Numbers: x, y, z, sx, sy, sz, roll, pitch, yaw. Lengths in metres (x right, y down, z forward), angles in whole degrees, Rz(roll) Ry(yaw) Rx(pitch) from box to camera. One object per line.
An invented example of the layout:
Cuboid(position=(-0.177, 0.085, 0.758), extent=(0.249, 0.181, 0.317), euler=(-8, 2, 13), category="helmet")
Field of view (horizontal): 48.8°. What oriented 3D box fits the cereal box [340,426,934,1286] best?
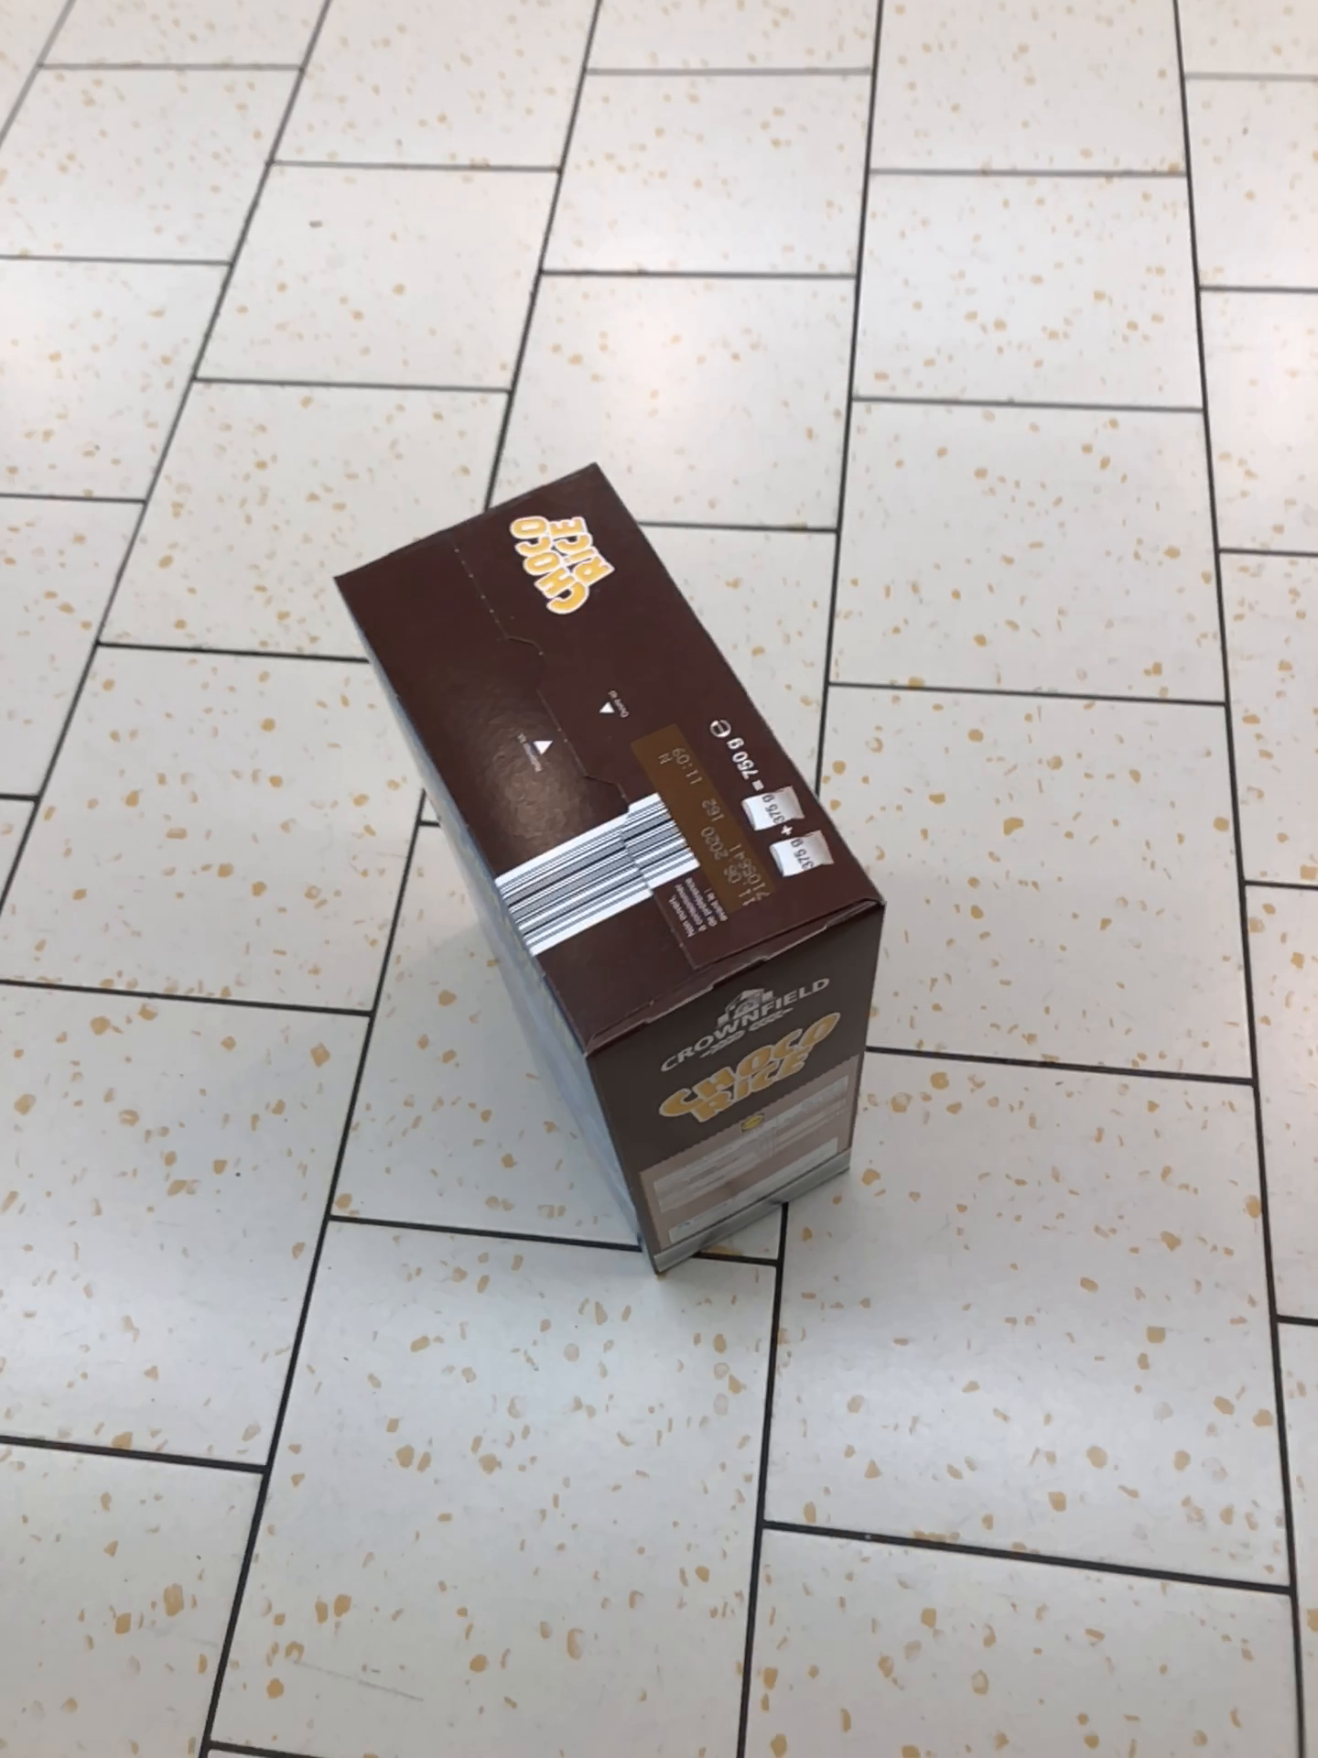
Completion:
Cuboid(position=(-0.004, 0.010, 0.551), extent=(0.100, 0.269, 0.201), euler=(-26, 62, -9), category="cereal box")
